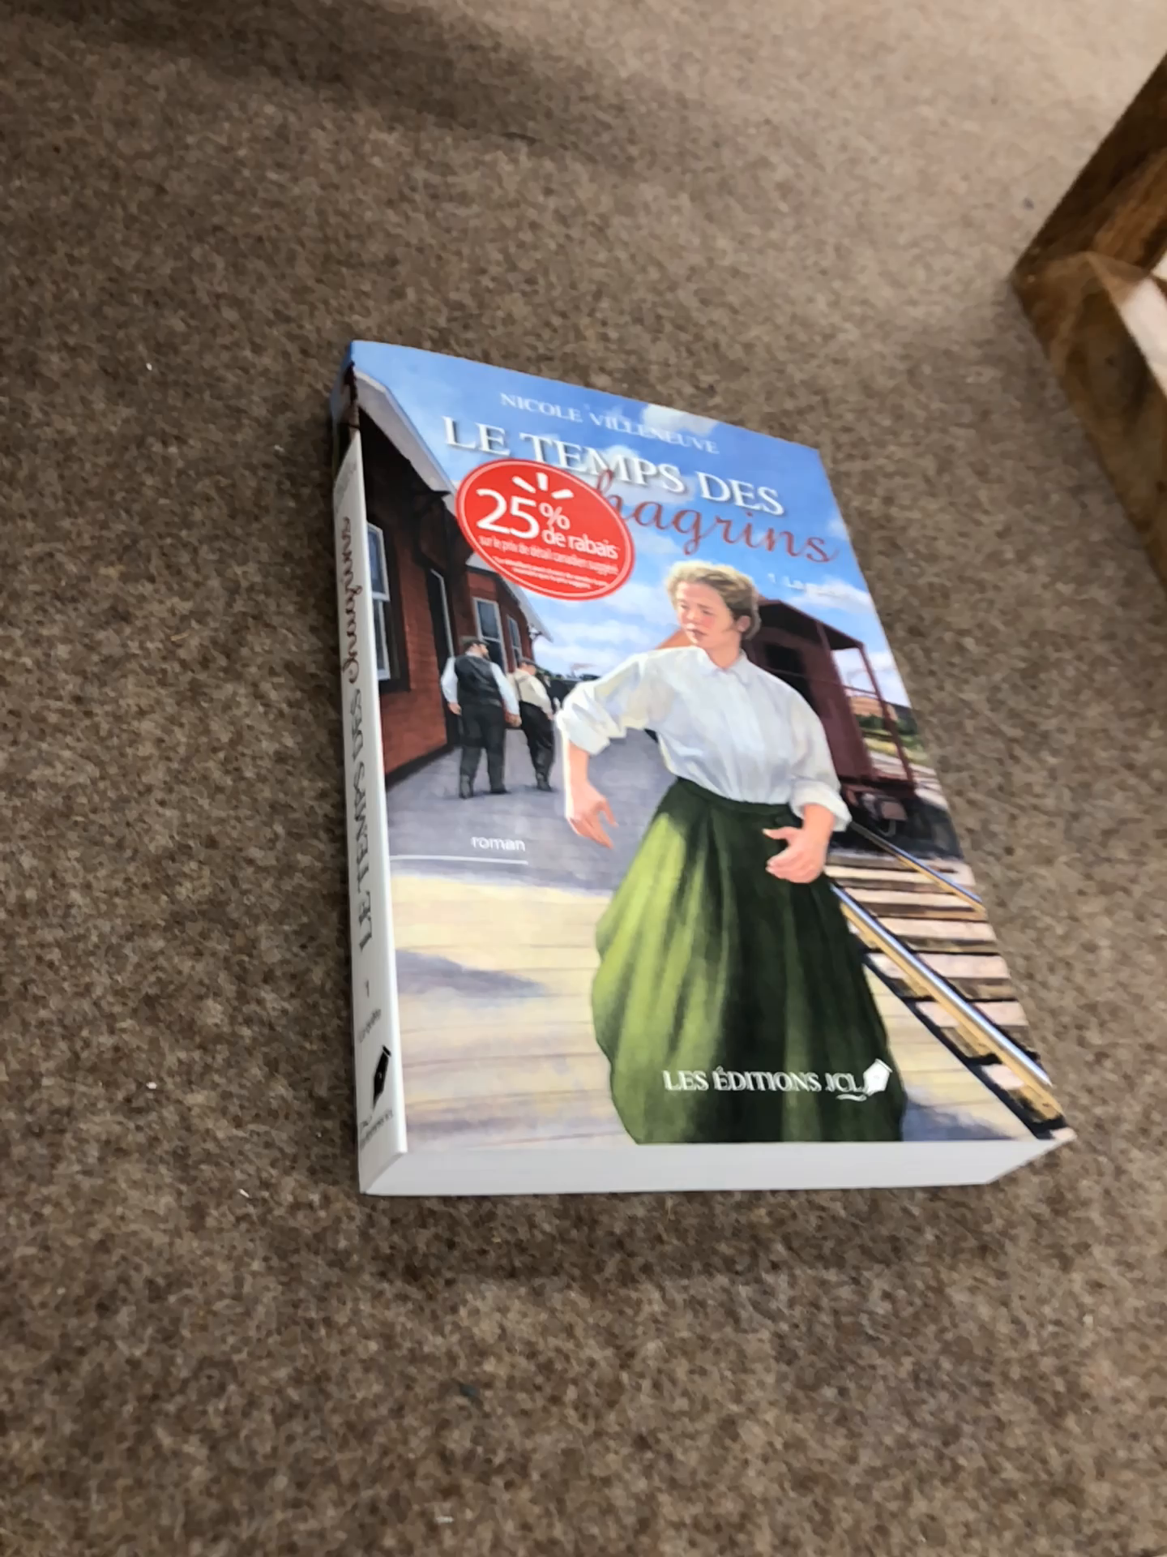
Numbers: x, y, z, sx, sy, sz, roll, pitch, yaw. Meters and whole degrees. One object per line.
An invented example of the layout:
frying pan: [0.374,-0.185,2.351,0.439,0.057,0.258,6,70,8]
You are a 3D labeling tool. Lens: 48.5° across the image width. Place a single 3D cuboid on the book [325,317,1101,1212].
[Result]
book: [0.019,-0.013,0.320,0.155,0.030,0.225,7,53,-22]
